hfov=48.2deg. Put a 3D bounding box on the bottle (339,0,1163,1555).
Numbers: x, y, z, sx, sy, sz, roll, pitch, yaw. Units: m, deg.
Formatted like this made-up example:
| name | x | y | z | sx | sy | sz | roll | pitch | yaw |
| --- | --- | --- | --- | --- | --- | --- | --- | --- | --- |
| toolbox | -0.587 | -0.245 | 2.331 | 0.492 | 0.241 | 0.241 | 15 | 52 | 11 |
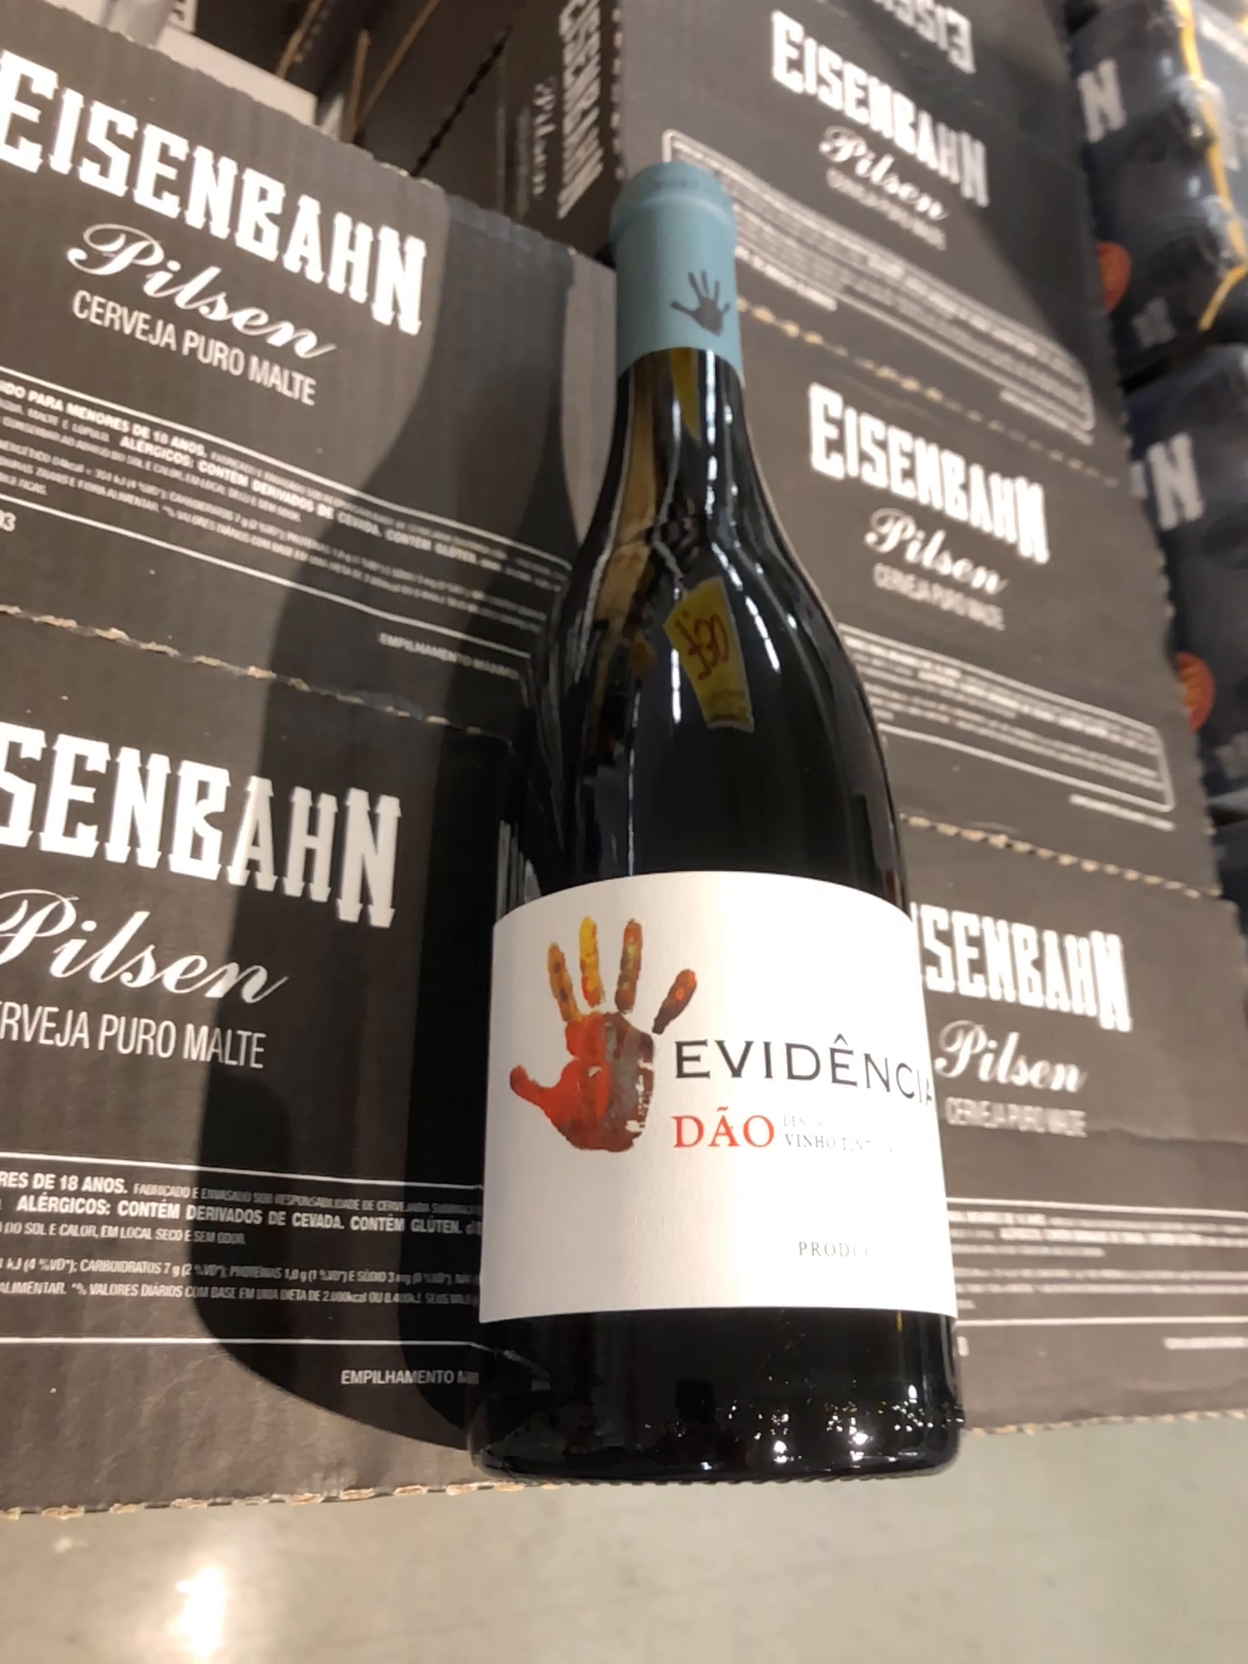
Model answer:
| name | x | y | z | sx | sy | sz | roll | pitch | yaw |
| --- | --- | --- | --- | --- | --- | --- | --- | --- | --- |
| bottle | 0.020 | -0.046 | 0.285 | 0.100 | 0.089 | 0.331 | 13 | 66 | -30 |
